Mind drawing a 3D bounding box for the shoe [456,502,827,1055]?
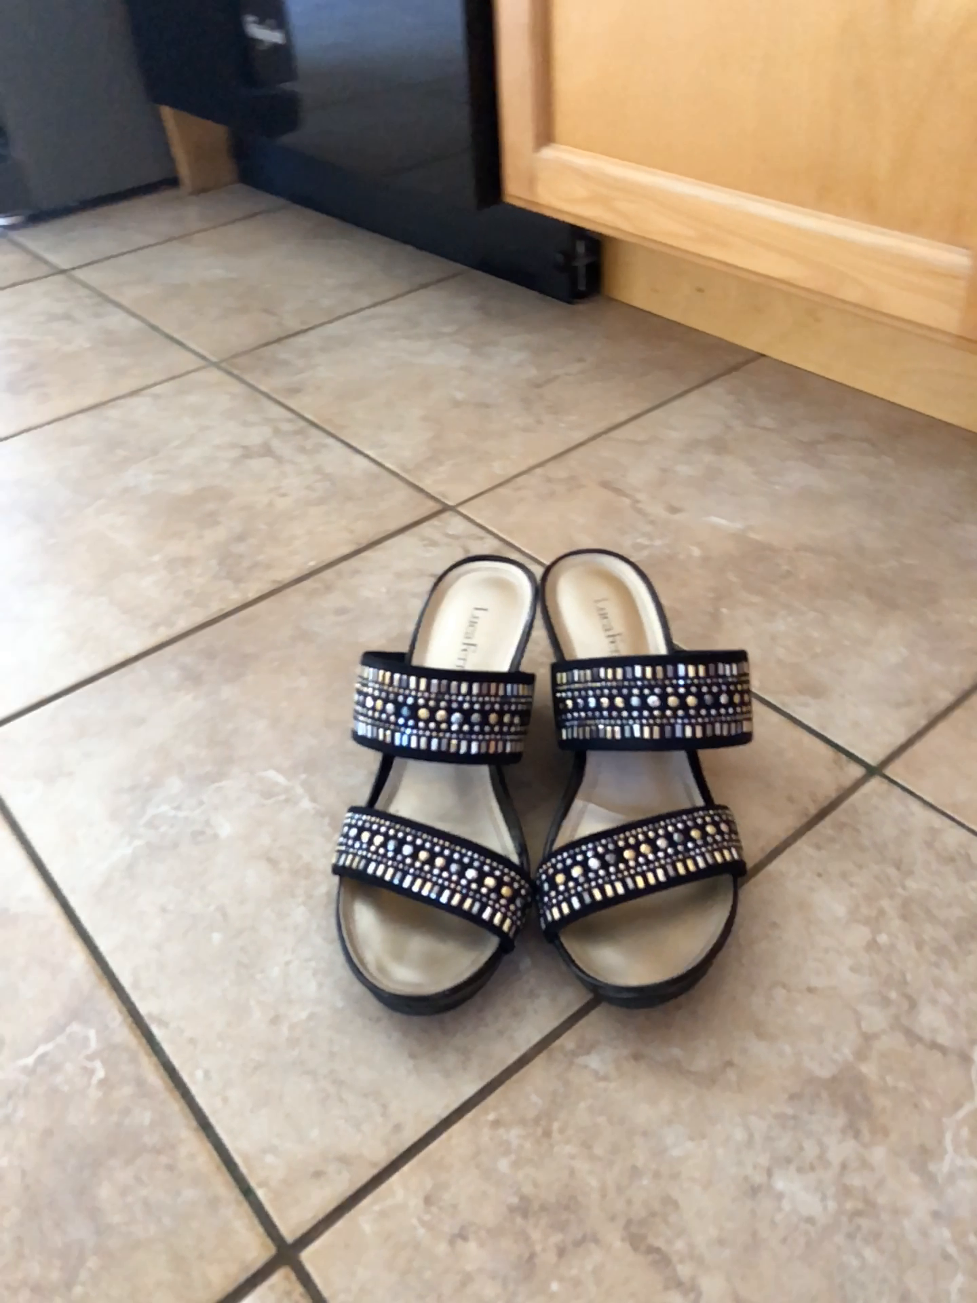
[{"bbox_3d":[0.051,0.041,0.465,0.110,0.100,0.221,-6,39,-1],"label":"shoe"}]

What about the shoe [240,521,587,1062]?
[{"bbox_3d":[-0.016,0.047,0.474,0.090,0.100,0.221,5,40,11],"label":"shoe"}]
